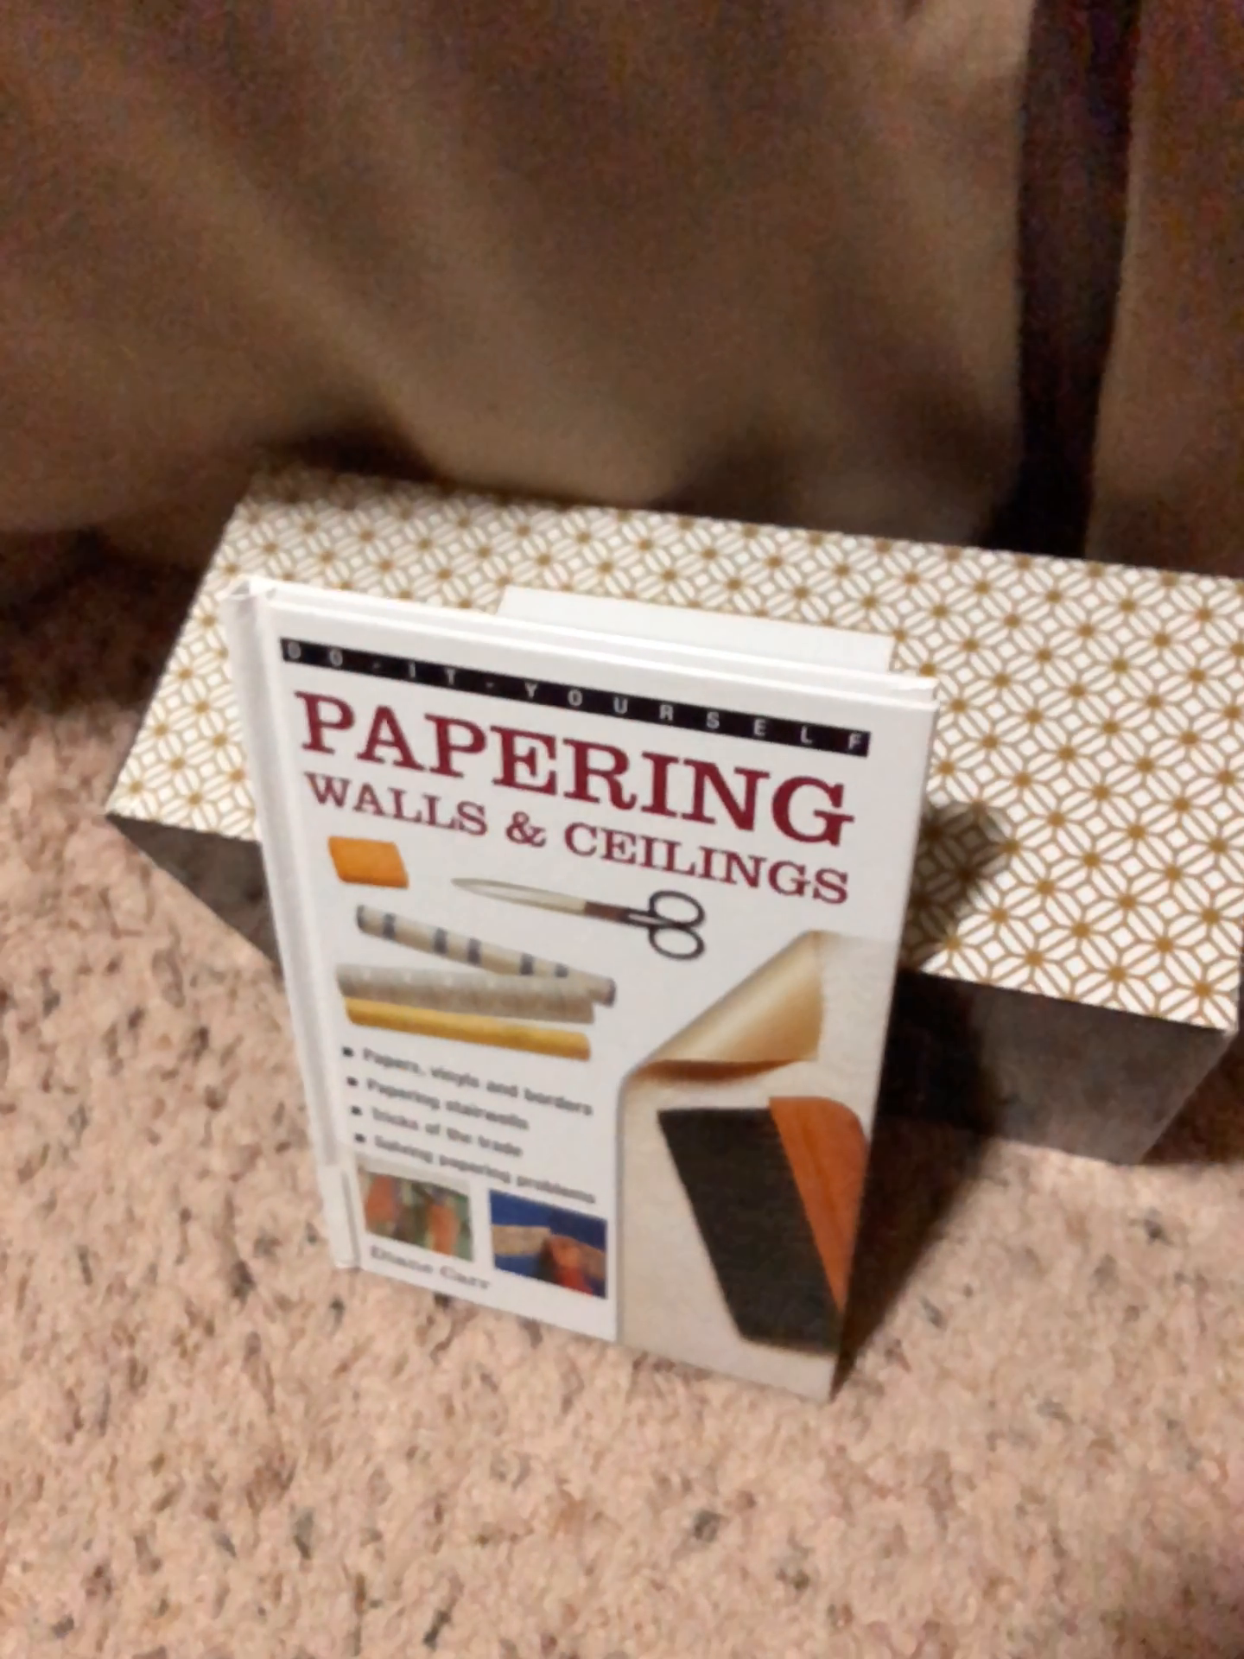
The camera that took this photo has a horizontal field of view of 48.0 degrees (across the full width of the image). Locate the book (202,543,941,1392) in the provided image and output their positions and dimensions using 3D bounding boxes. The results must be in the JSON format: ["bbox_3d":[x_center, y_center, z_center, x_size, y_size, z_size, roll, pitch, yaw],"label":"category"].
[{"bbox_3d":[-0.013,0.043,0.323,0.143,0.207,0.015,11,37,15],"label":"book"}]
